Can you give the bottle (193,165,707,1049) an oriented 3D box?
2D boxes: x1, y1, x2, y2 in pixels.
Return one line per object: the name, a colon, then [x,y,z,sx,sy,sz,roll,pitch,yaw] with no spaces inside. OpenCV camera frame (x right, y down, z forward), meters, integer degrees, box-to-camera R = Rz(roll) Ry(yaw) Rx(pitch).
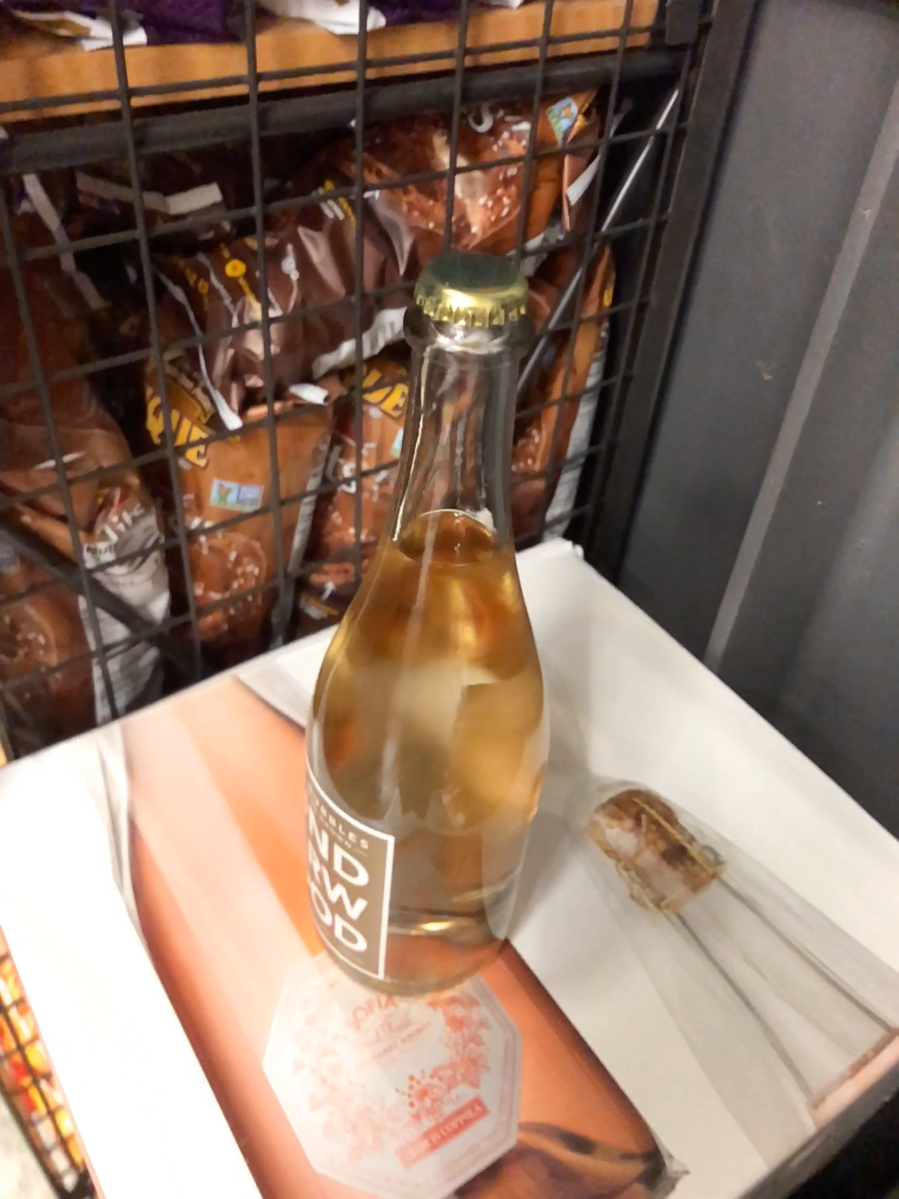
bottle: [-0.014,0.024,0.355,0.095,0.304,0.099,3,41,-3]
